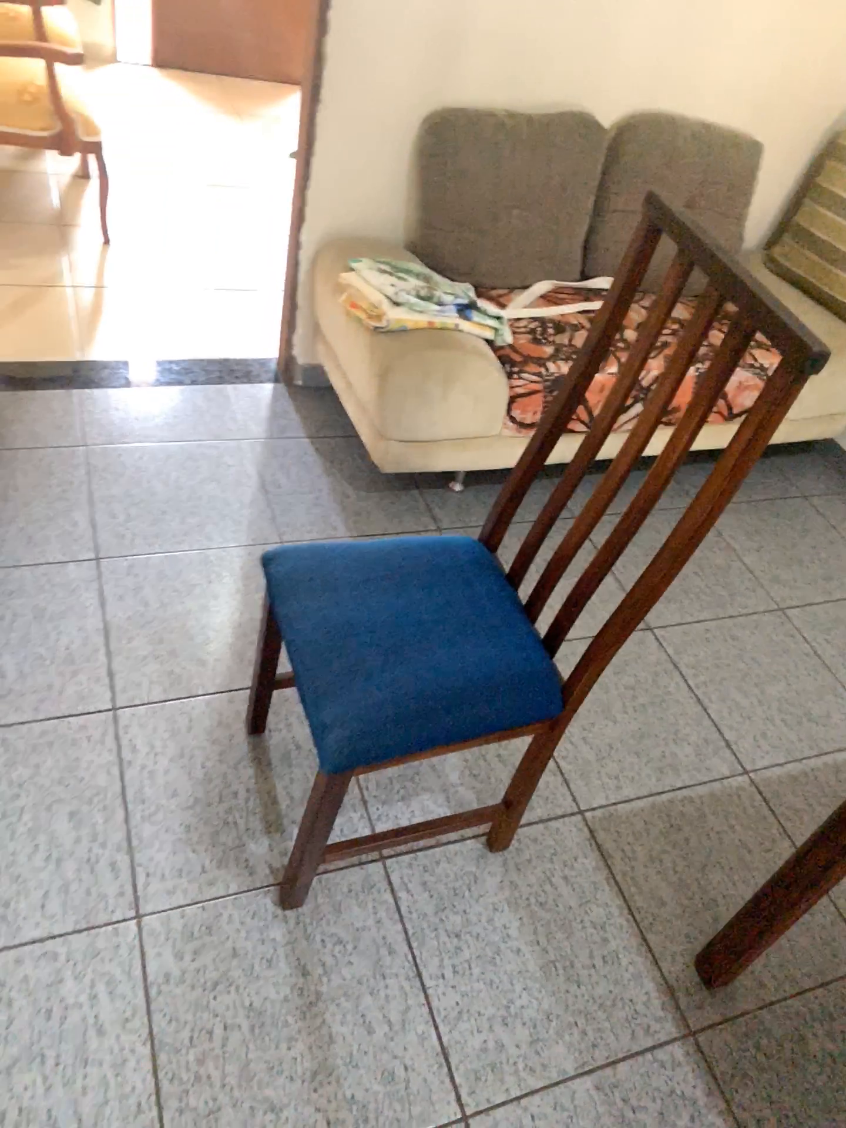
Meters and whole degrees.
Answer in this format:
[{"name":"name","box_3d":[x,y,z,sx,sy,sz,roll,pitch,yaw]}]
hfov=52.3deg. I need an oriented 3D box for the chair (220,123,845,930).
[{"name":"chair","box_3d":[0.017,0.040,1.304,0.521,1.124,0.472,-5,48,-21]}]
